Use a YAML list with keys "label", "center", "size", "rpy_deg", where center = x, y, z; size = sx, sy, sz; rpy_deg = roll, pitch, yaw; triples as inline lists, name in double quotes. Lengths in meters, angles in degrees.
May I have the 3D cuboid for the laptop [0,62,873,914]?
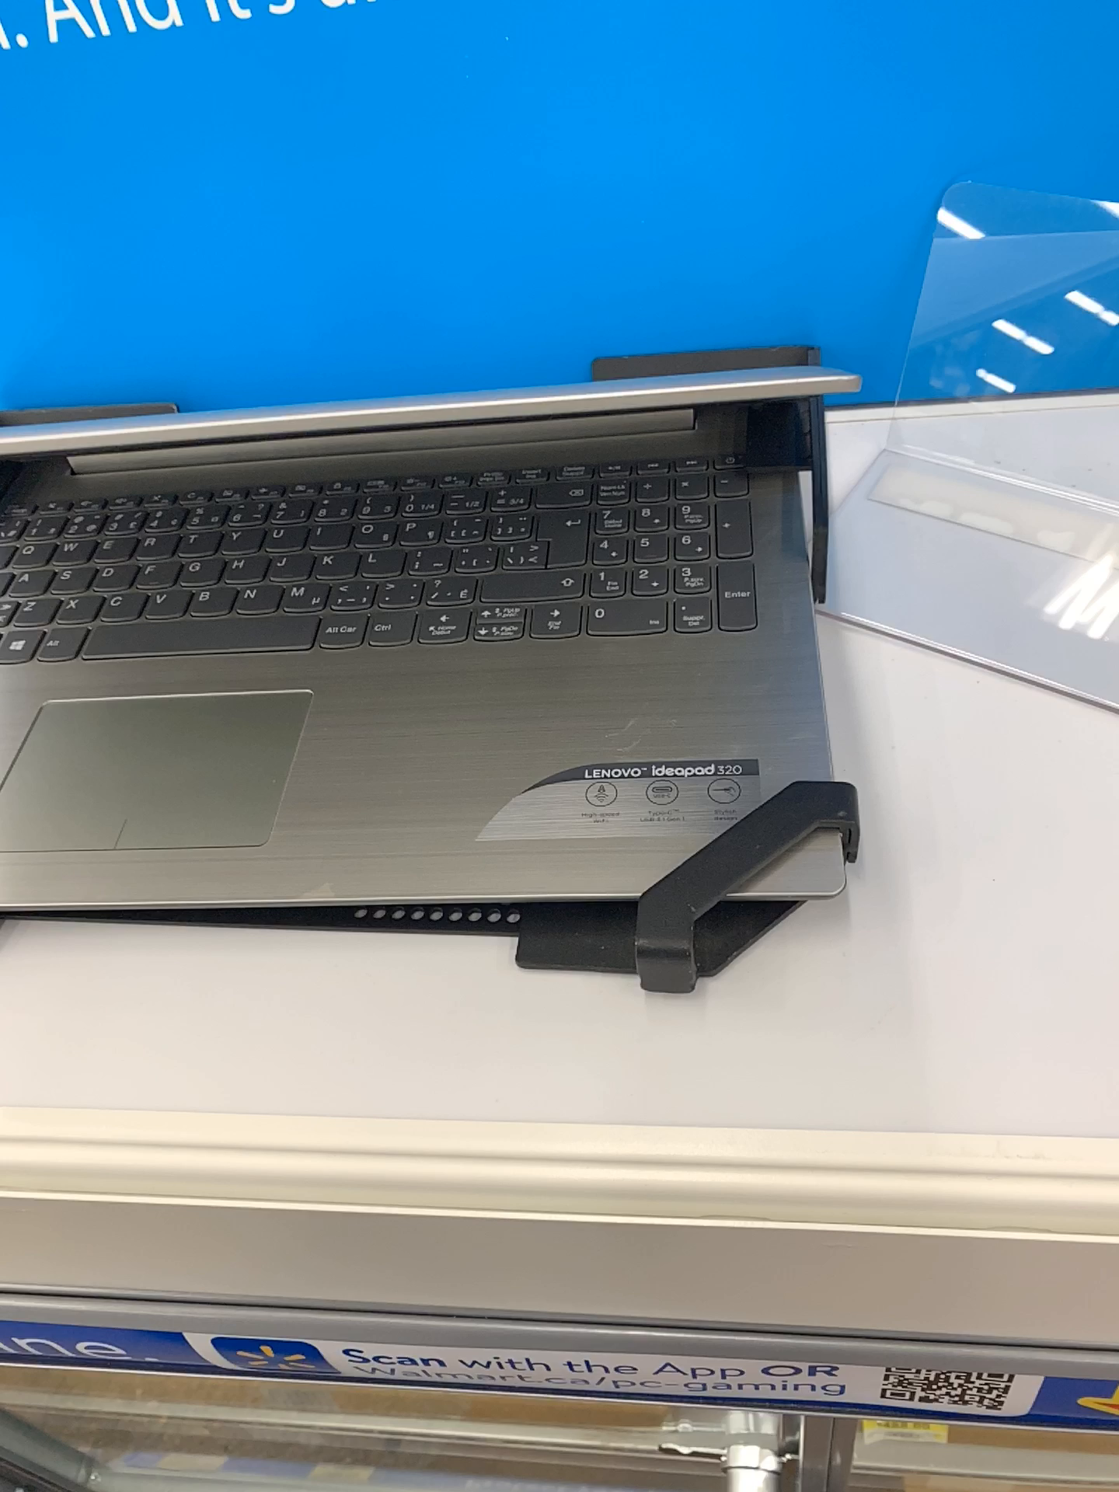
- label: "laptop"
  center: [-0.089, -0.082, 0.346]
  size: [0.326, 0.115, 0.230]
  rpy_deg: [-2, 48, 8]
